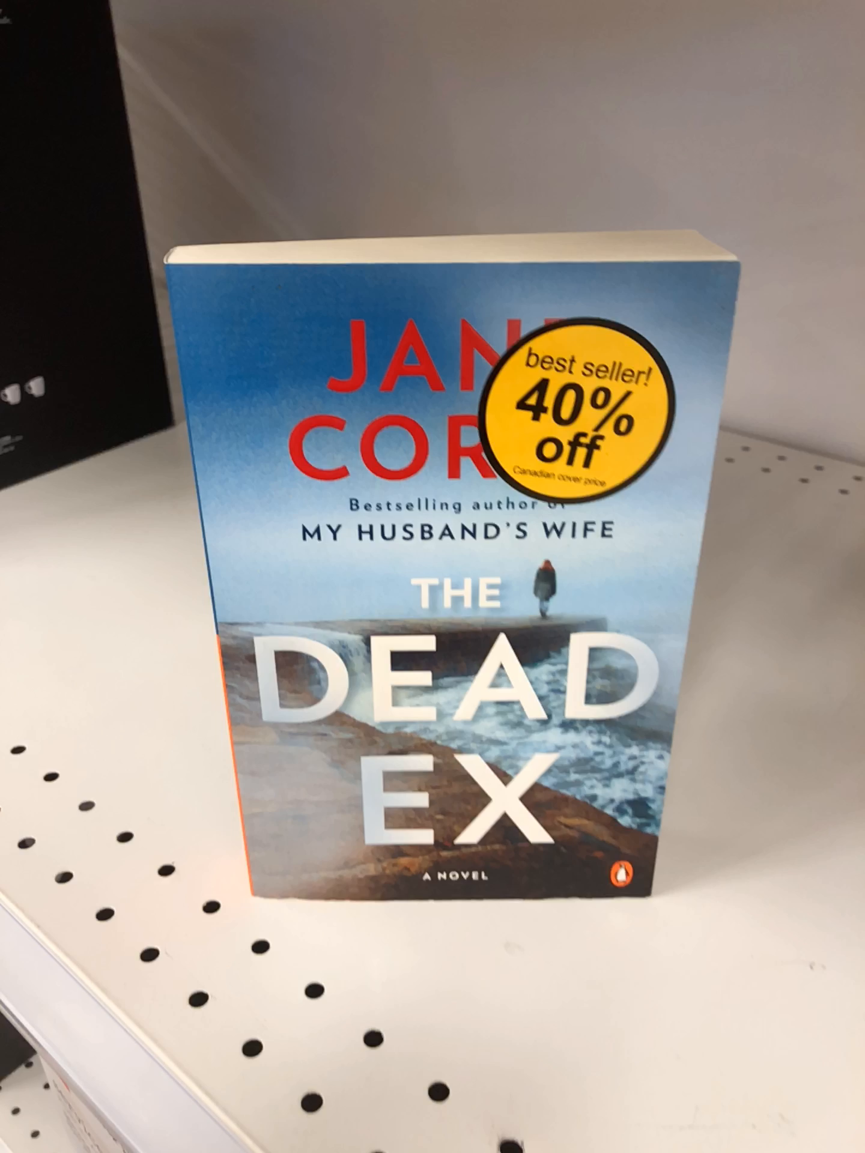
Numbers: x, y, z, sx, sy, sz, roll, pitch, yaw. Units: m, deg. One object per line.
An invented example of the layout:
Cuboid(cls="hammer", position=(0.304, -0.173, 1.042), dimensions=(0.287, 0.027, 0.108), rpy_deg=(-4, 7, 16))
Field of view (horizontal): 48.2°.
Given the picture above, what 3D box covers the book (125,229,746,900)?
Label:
Cuboid(cls="book", position=(0.003, 0.009, 0.296), dimensions=(0.146, 0.211, 0.040), rpy_deg=(-1, 29, 2))
